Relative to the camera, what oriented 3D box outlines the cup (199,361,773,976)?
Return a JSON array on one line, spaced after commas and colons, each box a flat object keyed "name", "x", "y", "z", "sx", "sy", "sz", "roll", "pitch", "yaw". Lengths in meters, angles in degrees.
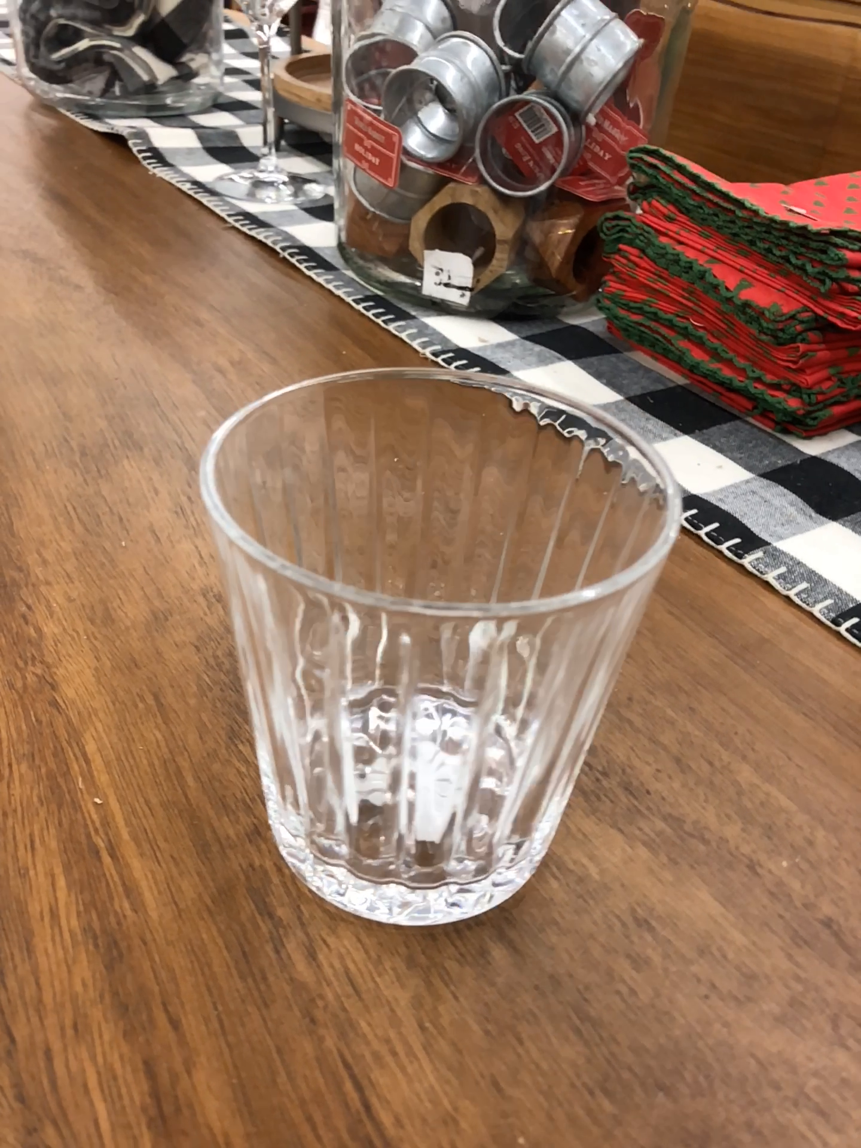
[{"name": "cup", "x": 0.001, "y": 0.016, "z": 0.218, "sx": 0.093, "sy": 0.093, "sz": 0.090, "roll": 3, "pitch": 36, "yaw": -2}]
